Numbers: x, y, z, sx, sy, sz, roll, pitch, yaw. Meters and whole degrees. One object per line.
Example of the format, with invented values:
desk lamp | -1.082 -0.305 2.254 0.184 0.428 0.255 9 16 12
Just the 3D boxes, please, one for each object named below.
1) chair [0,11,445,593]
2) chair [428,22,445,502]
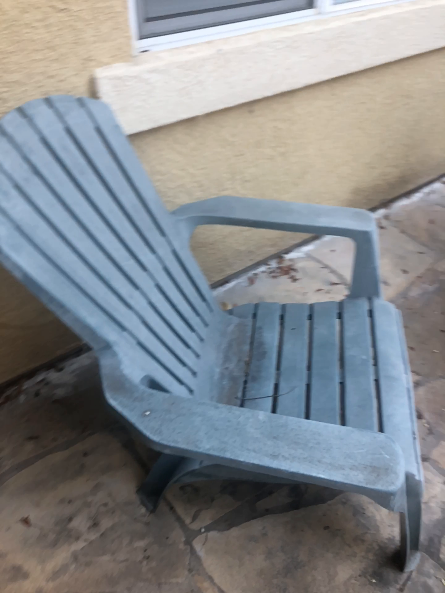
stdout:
chair | -0.127 0.165 1.116 0.909 1.220 0.746 0 41 9
chair | 1.172 -0.136 1.303 0.690 0.883 0.927 -1 39 -2
